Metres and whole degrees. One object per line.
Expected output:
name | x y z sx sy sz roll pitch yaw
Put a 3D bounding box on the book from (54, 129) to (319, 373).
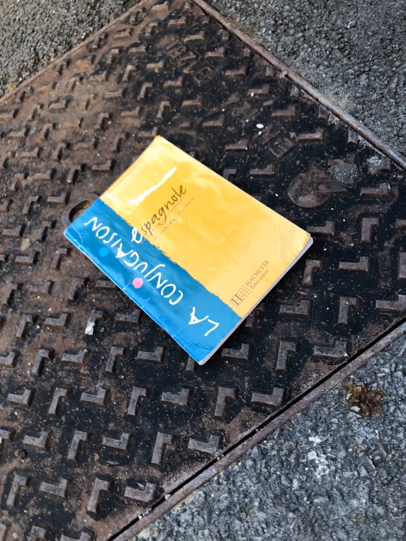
book | -0.022 -0.029 0.385 0.187 0.017 0.140 39 80 28
